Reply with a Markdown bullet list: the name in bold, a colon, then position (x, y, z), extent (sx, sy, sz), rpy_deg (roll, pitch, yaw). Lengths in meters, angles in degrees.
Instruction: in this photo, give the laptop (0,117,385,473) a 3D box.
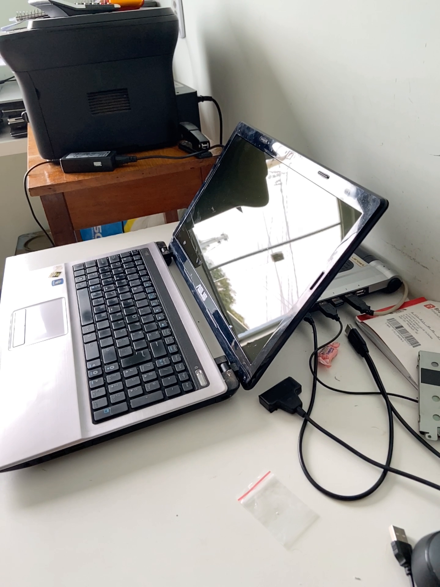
- **laptop**: position (-0.090, -0.057, 0.578), extent (0.415, 0.179, 0.378), rpy_deg (-16, 34, -12)
